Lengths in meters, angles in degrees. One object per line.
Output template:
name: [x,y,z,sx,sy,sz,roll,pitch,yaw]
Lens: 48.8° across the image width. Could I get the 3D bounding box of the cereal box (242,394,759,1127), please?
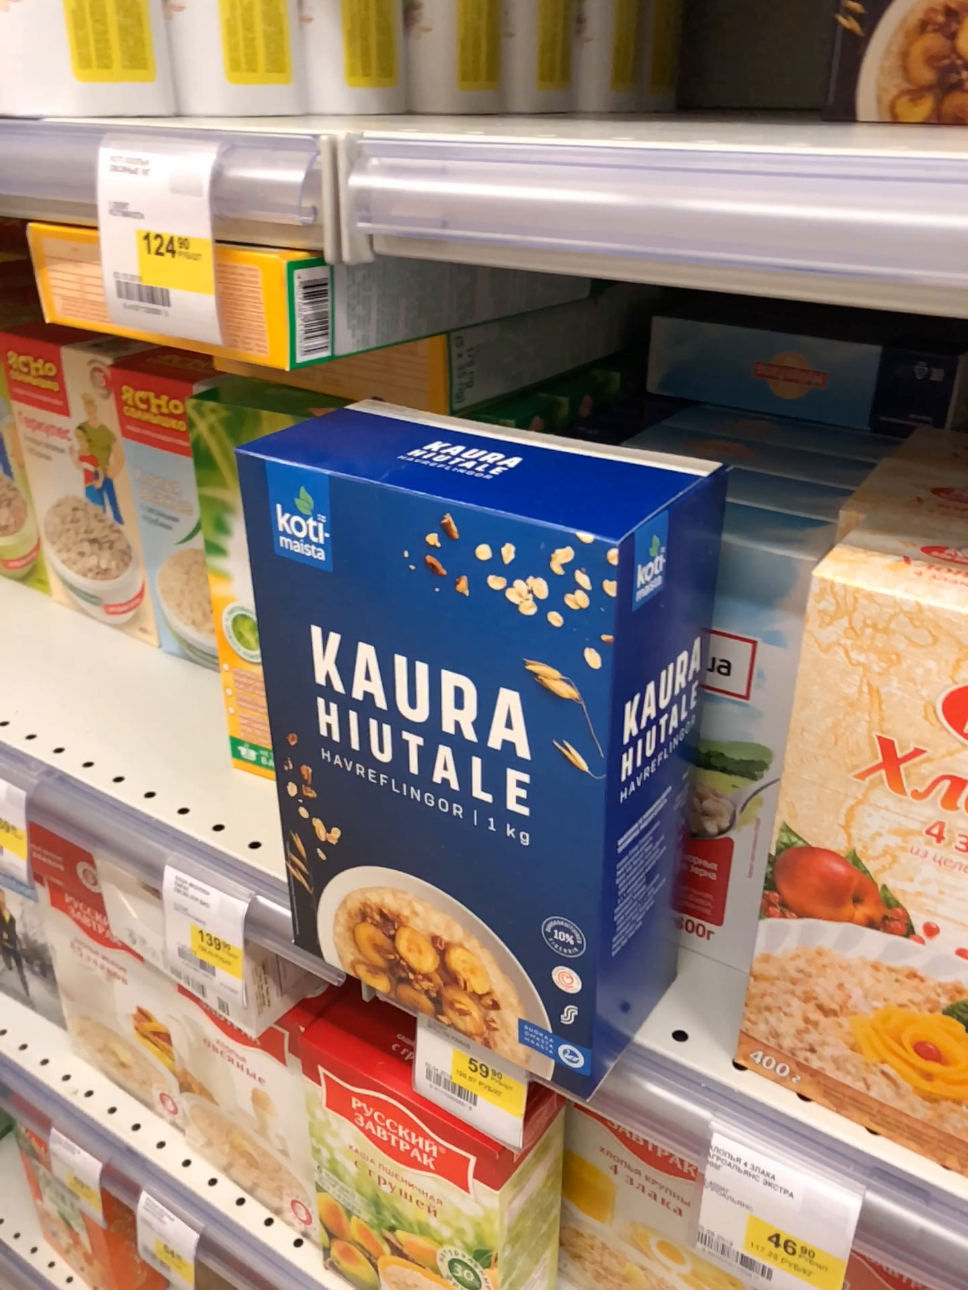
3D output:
cereal box: [0.003,0.039,0.402,0.150,0.229,0.080,17,31,29]
